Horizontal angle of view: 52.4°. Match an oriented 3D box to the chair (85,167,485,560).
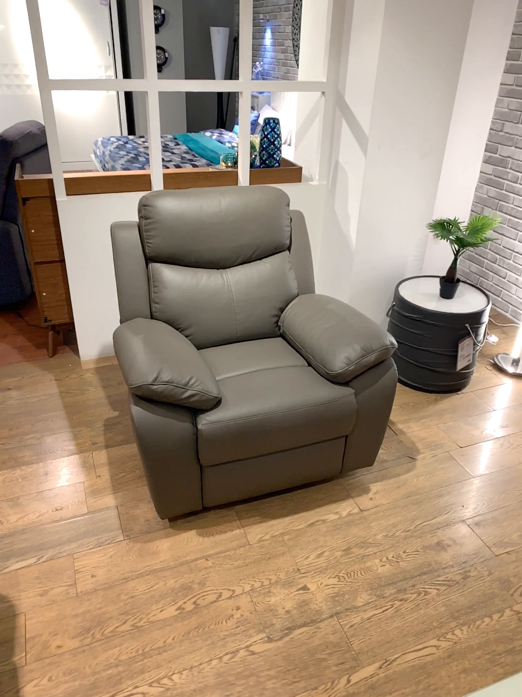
[{"bbox_3d":[-0.020,-0.061,1.934,1.001,0.936,0.943,-9,32,-19],"label":"chair"}]
